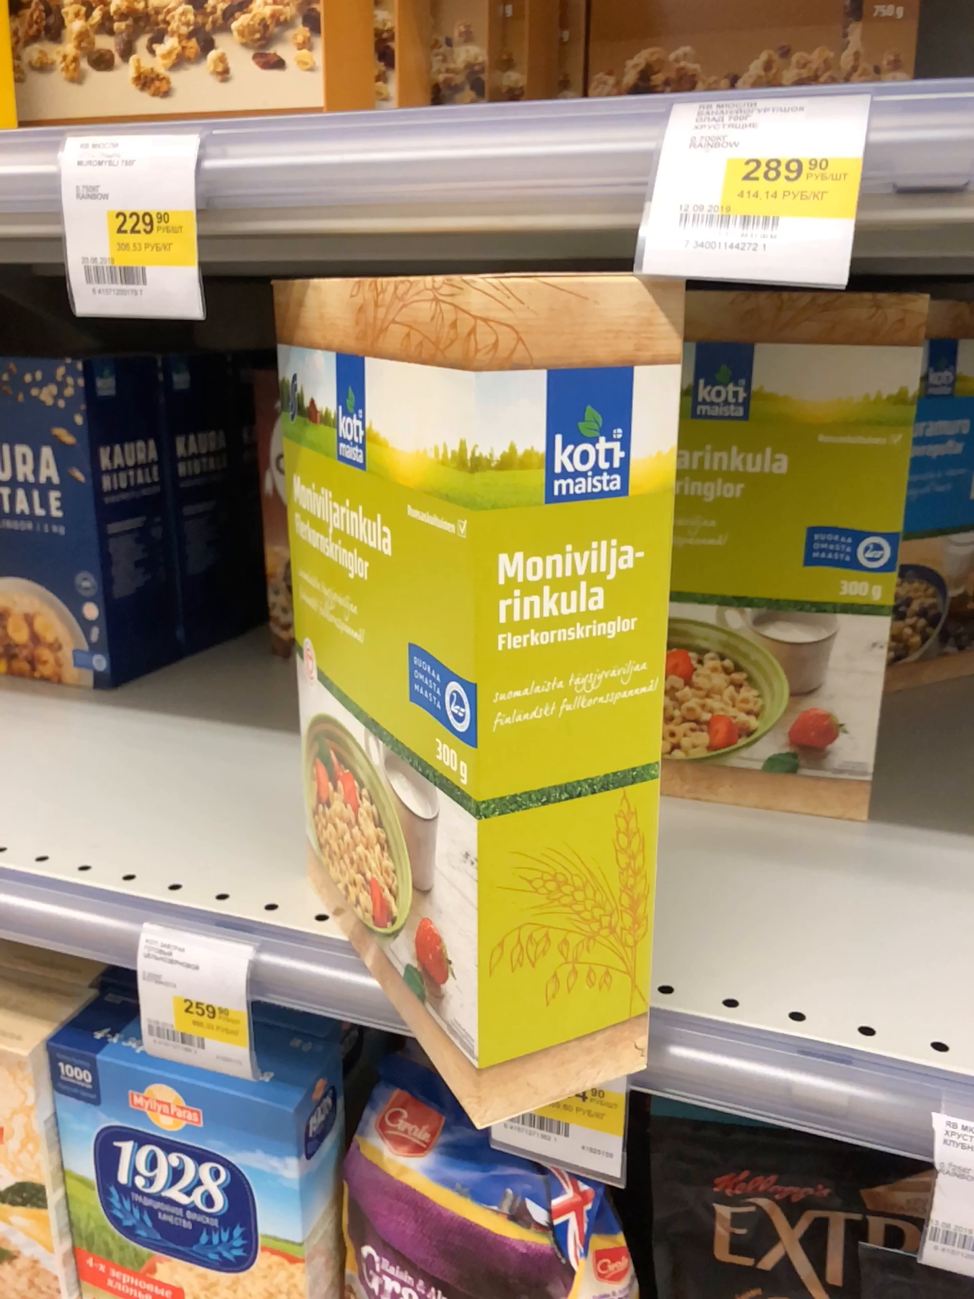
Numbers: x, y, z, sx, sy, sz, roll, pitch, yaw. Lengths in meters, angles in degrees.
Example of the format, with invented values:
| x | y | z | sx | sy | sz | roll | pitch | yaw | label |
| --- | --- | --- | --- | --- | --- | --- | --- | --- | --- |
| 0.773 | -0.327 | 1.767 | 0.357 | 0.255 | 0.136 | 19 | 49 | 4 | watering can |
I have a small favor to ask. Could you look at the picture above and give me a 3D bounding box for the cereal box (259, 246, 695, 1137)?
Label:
| x | y | z | sx | sy | sz | roll | pitch | yaw | label |
| --- | --- | --- | --- | --- | --- | --- | --- | --- | --- |
| -0.018 | -0.003 | 0.393 | 0.070 | 0.259 | 0.191 | -8 | 19 | -24 | cereal box |
